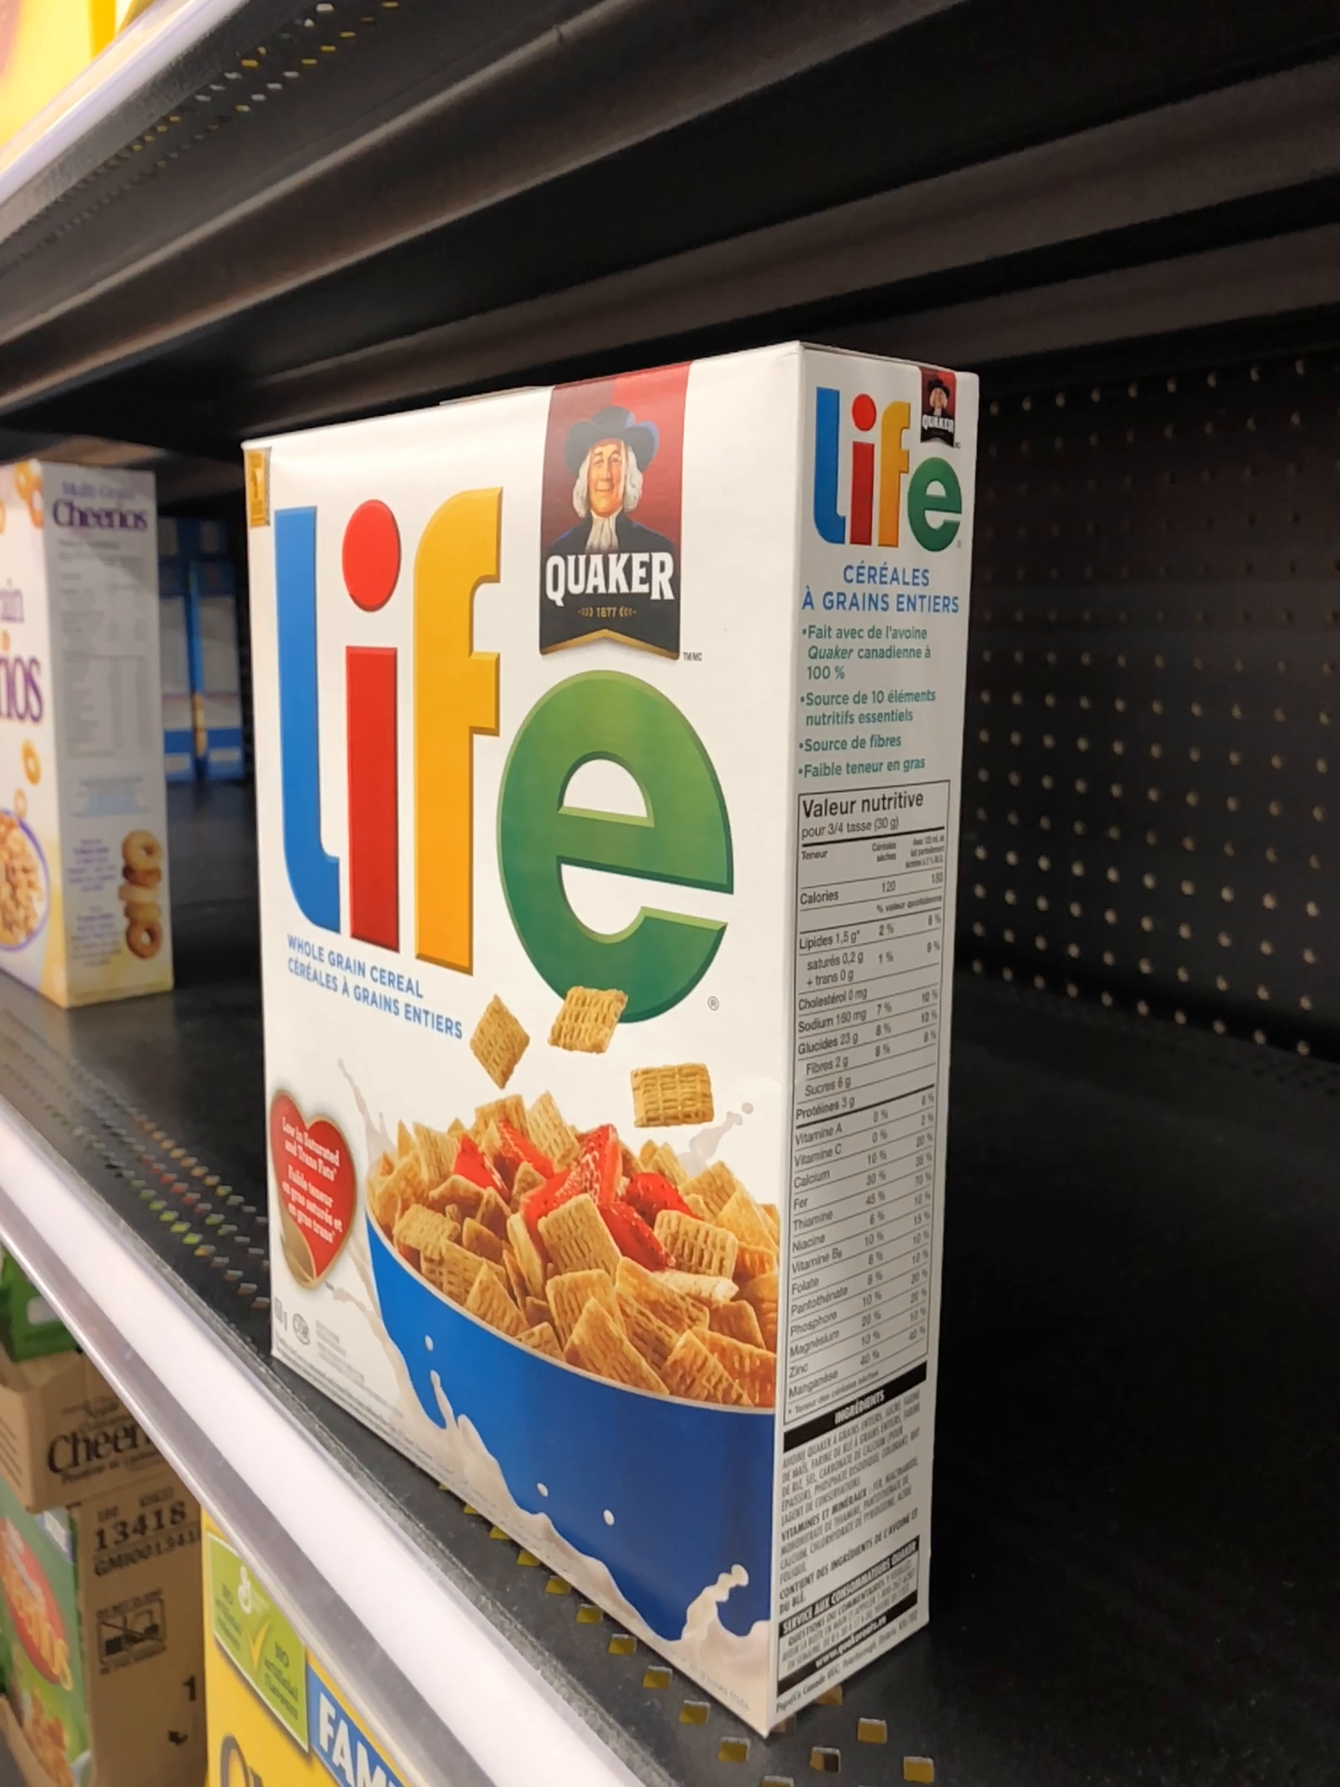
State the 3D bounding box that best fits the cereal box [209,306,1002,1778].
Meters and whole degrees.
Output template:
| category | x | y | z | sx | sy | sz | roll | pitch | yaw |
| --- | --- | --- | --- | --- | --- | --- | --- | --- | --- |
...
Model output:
| category | x | y | z | sx | sy | sz | roll | pitch | yaw |
| --- | --- | --- | --- | --- | --- | --- | --- | --- | --- |
| cereal box | -0.028 | 0.018 | 0.347 | 0.060 | 0.259 | 0.200 | -9 | 13 | -41 |
